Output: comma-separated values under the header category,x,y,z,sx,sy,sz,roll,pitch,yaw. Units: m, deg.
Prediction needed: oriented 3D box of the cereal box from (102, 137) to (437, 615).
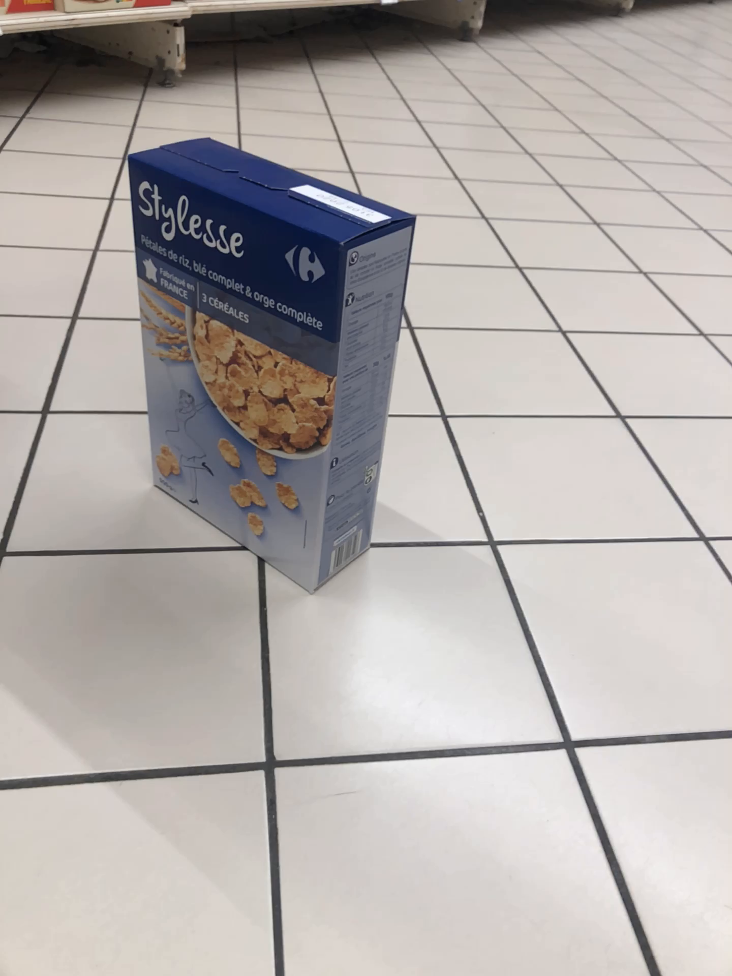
category,x,y,z,sx,sy,sz,roll,pitch,yaw
cereal box,-0.077,-0.078,0.590,0.210,0.278,0.081,29,43,26
